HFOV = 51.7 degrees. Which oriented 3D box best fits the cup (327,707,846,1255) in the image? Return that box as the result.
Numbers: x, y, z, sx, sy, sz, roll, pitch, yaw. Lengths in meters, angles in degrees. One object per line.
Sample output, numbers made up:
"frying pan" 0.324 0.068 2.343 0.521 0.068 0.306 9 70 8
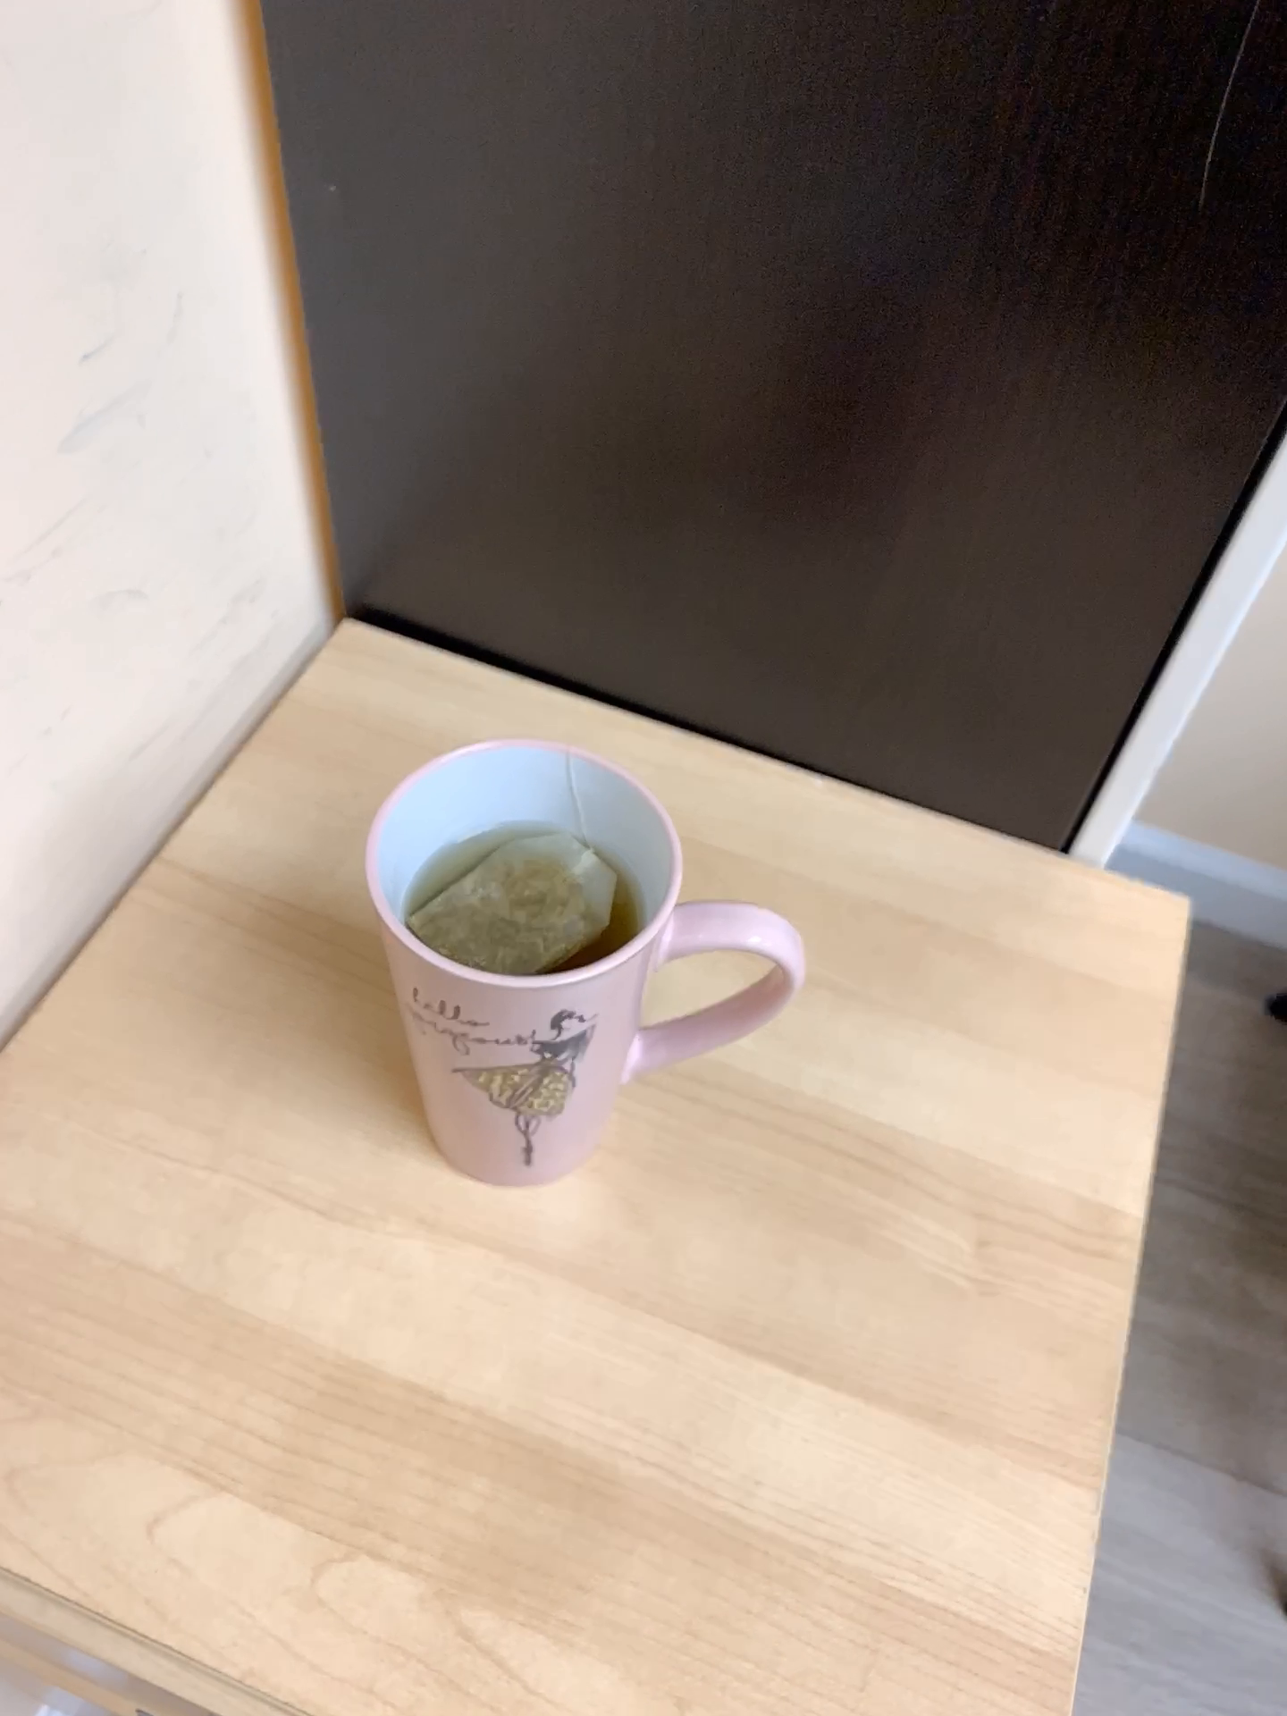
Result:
"cup" -0.016 0.046 0.438 0.133 0.151 0.093 9 52 2
